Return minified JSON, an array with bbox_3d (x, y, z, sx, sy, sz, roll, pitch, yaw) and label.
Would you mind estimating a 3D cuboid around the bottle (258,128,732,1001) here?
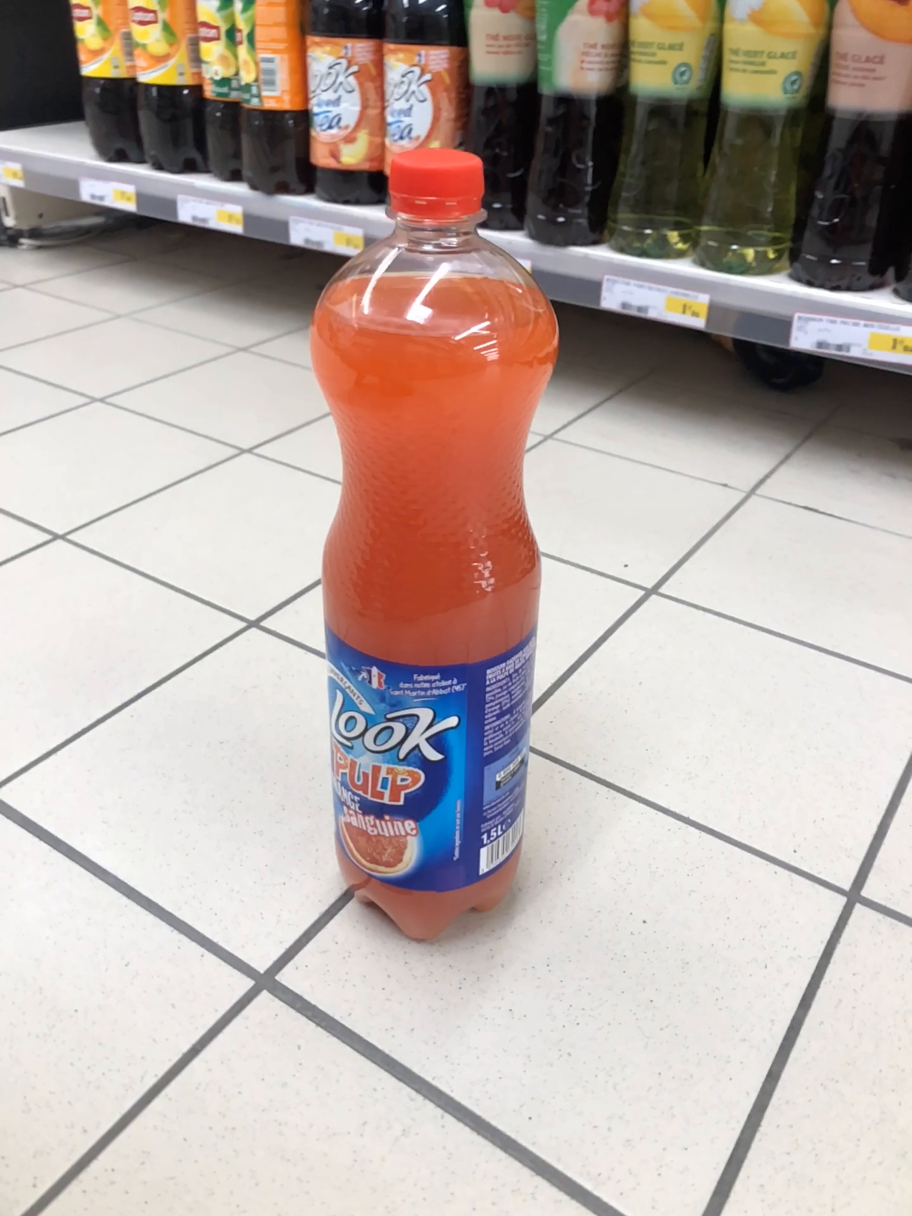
[{"bbox_3d":[0.009,-0.009,0.395,0.110,0.308,0.101,1,32,-1],"label":"bottle"}]
